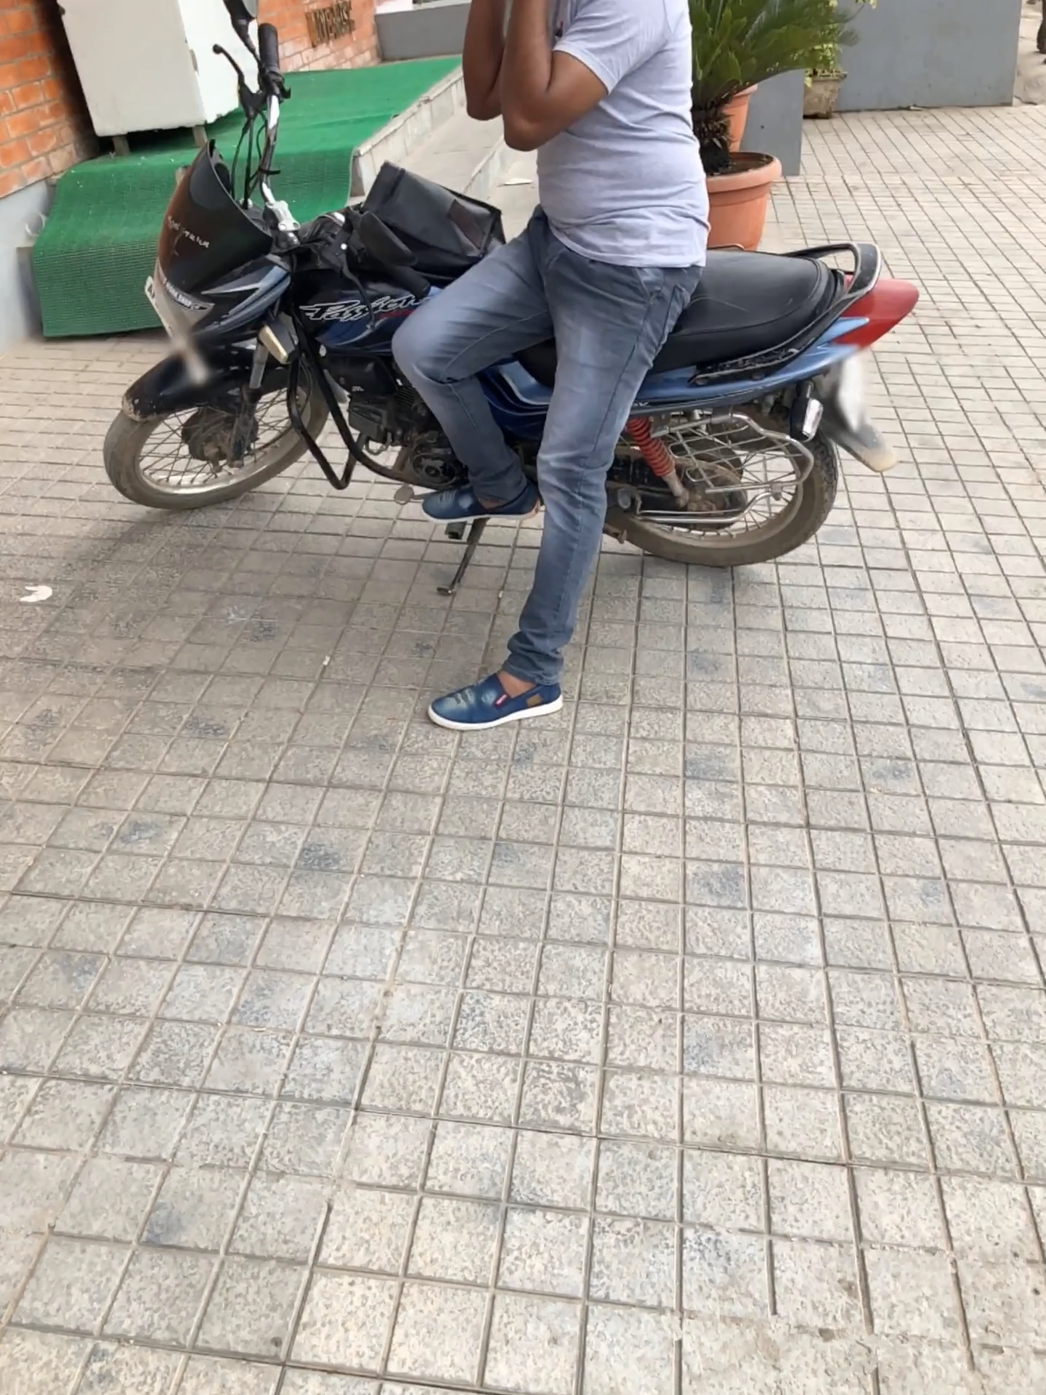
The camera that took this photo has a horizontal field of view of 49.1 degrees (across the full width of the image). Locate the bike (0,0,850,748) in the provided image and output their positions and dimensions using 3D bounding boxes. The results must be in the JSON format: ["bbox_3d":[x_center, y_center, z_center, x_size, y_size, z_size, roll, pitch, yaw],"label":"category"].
[{"bbox_3d":[-0.286,-0.739,2.401,1.819,1.345,0.817,2,35,9],"label":"bike"}]
